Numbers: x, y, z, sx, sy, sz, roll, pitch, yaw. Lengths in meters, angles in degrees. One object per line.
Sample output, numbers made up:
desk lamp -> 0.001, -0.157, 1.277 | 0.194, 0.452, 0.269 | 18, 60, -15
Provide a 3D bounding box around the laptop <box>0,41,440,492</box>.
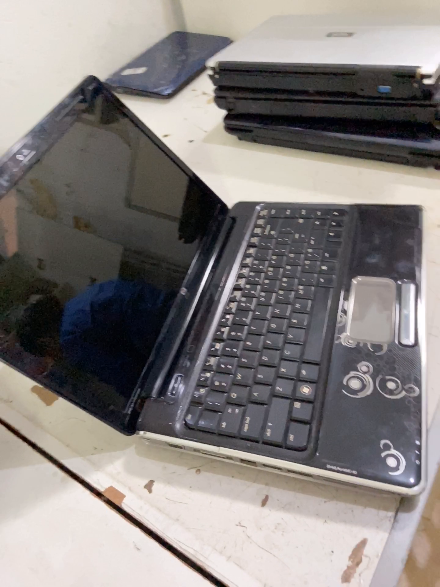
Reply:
laptop -> -0.004, -0.057, 0.424 | 0.372, 0.176, 0.332 | 5, 49, 20
